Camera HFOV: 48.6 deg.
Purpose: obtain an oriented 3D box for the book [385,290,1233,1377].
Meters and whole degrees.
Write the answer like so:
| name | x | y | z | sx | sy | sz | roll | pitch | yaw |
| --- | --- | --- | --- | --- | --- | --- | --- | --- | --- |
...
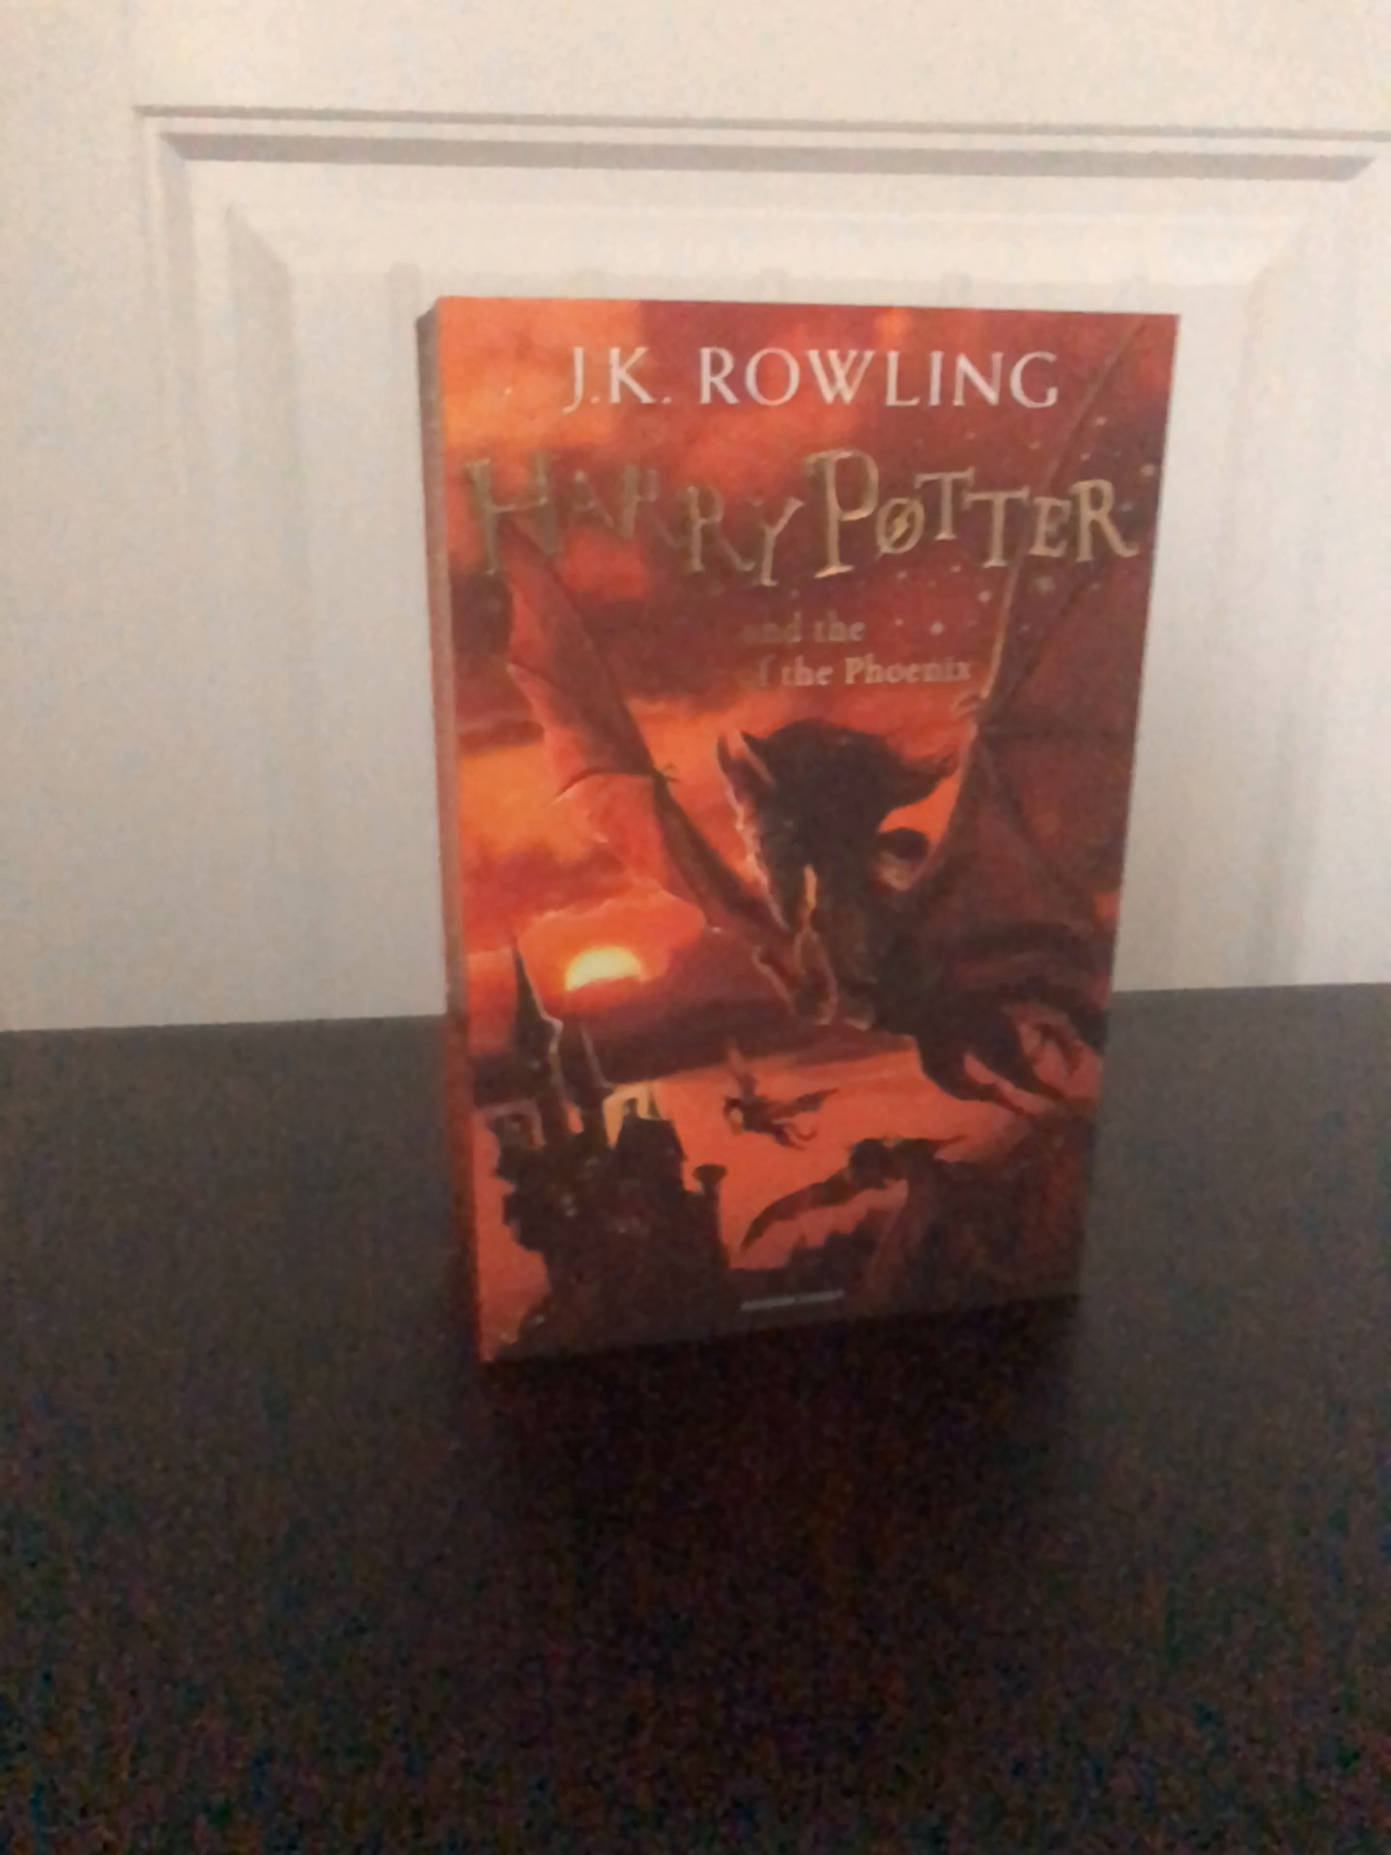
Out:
| name | x | y | z | sx | sy | sz | roll | pitch | yaw |
| --- | --- | --- | --- | --- | --- | --- | --- | --- | --- |
| book | 0.016 | -0.020 | 0.306 | 0.141 | 0.189 | 0.061 | -4 | 18 | -14 |
